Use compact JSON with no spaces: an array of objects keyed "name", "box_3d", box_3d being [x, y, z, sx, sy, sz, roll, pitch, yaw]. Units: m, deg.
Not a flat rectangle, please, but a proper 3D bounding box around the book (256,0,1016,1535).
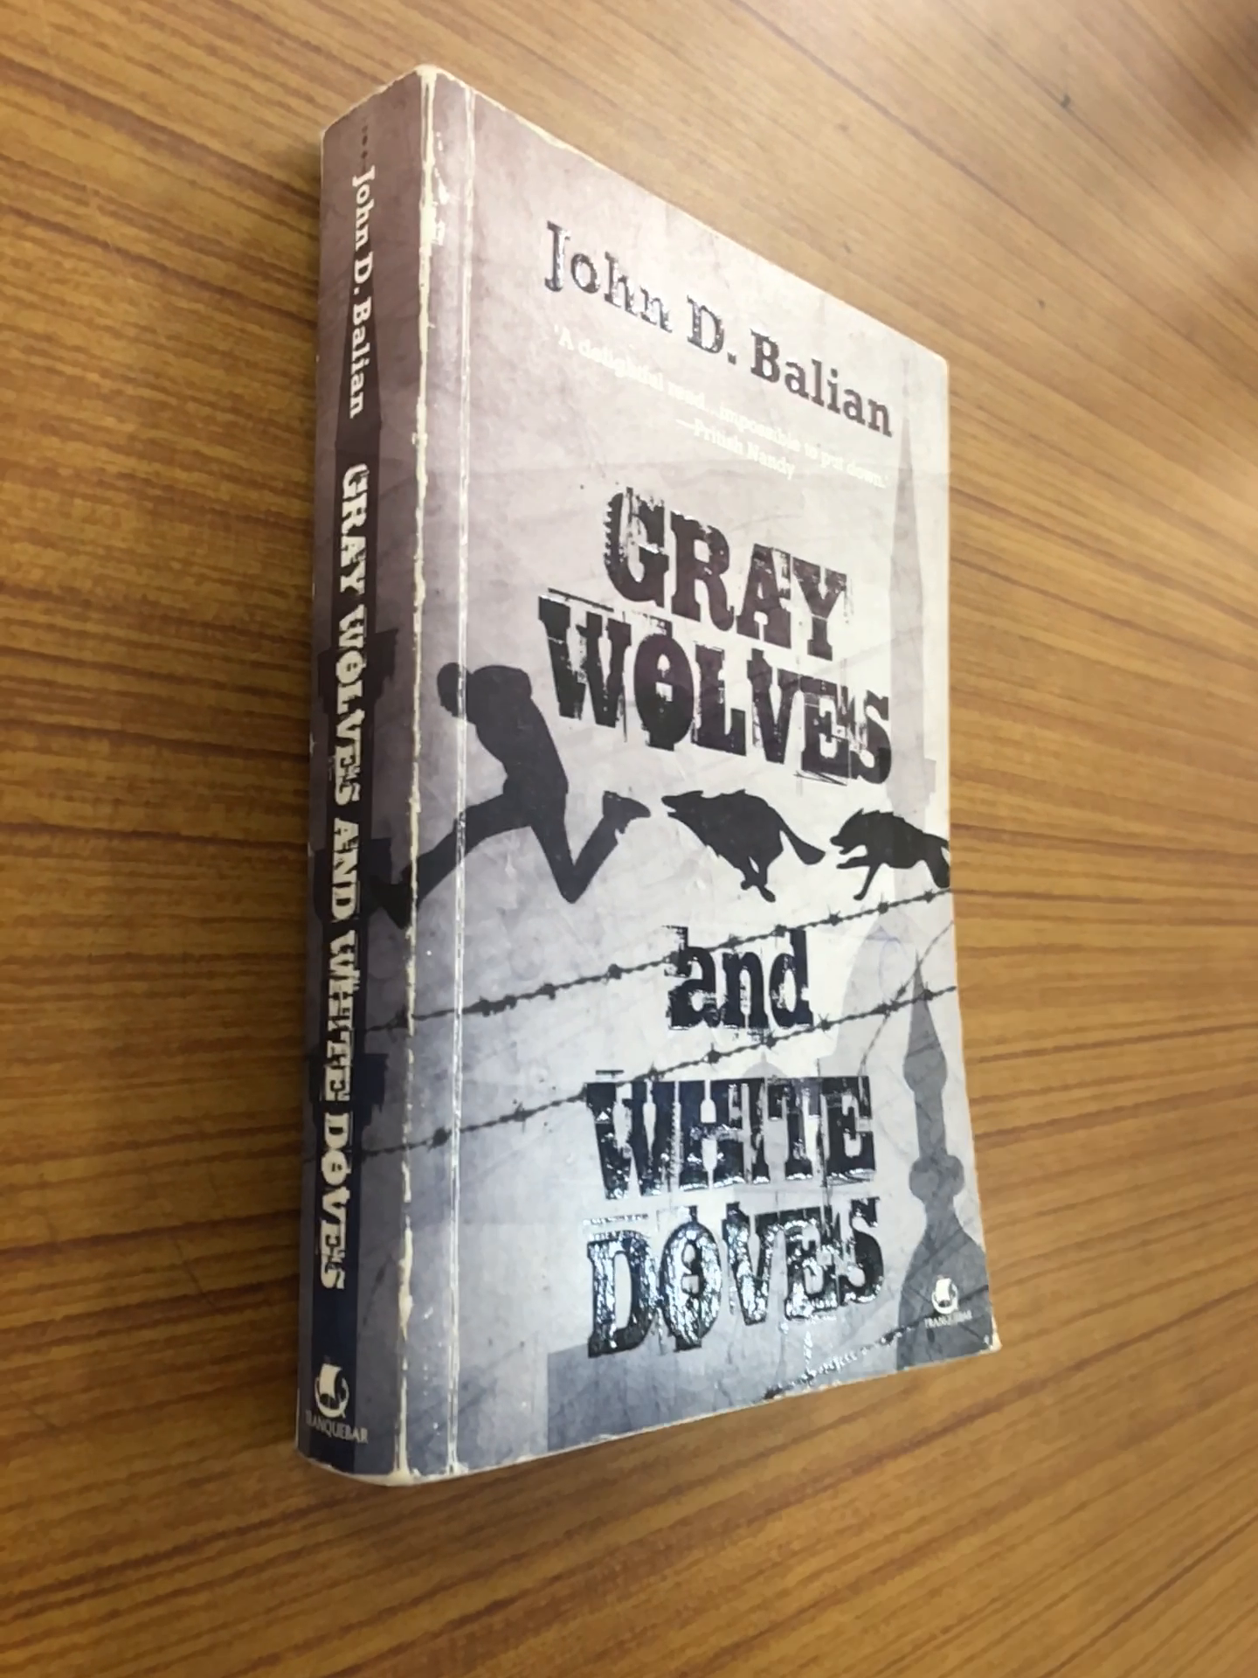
[{"name":"book","box_3d":[0.010,-0.015,0.234,0.131,0.030,0.210,8,78,-41]}]
